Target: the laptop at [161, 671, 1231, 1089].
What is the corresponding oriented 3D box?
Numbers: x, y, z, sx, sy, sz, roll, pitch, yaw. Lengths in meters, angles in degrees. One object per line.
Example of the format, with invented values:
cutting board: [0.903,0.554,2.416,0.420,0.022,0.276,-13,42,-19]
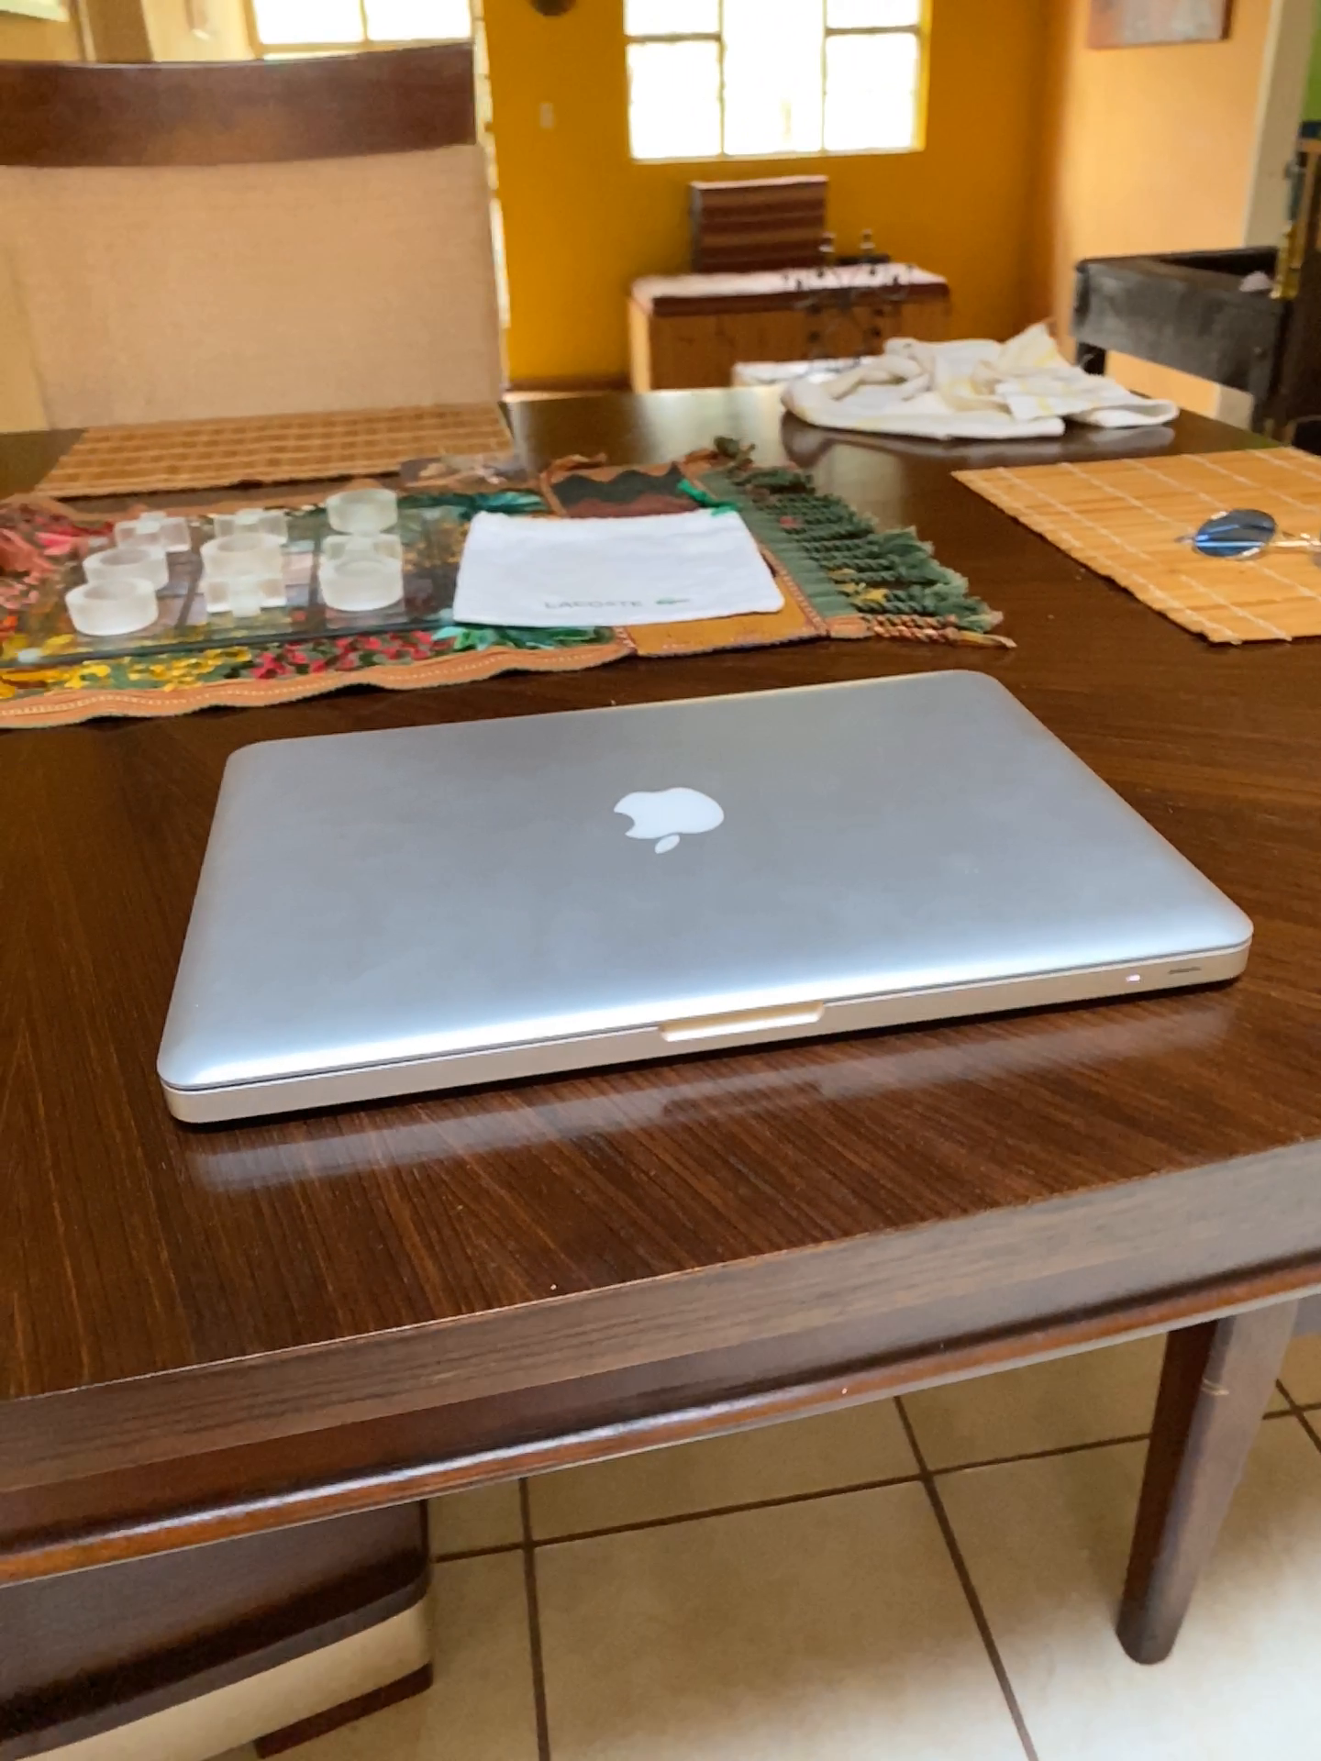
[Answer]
laptop: [-0.001,-0.019,0.502,0.324,0.002,0.233,-7,30,-8]
